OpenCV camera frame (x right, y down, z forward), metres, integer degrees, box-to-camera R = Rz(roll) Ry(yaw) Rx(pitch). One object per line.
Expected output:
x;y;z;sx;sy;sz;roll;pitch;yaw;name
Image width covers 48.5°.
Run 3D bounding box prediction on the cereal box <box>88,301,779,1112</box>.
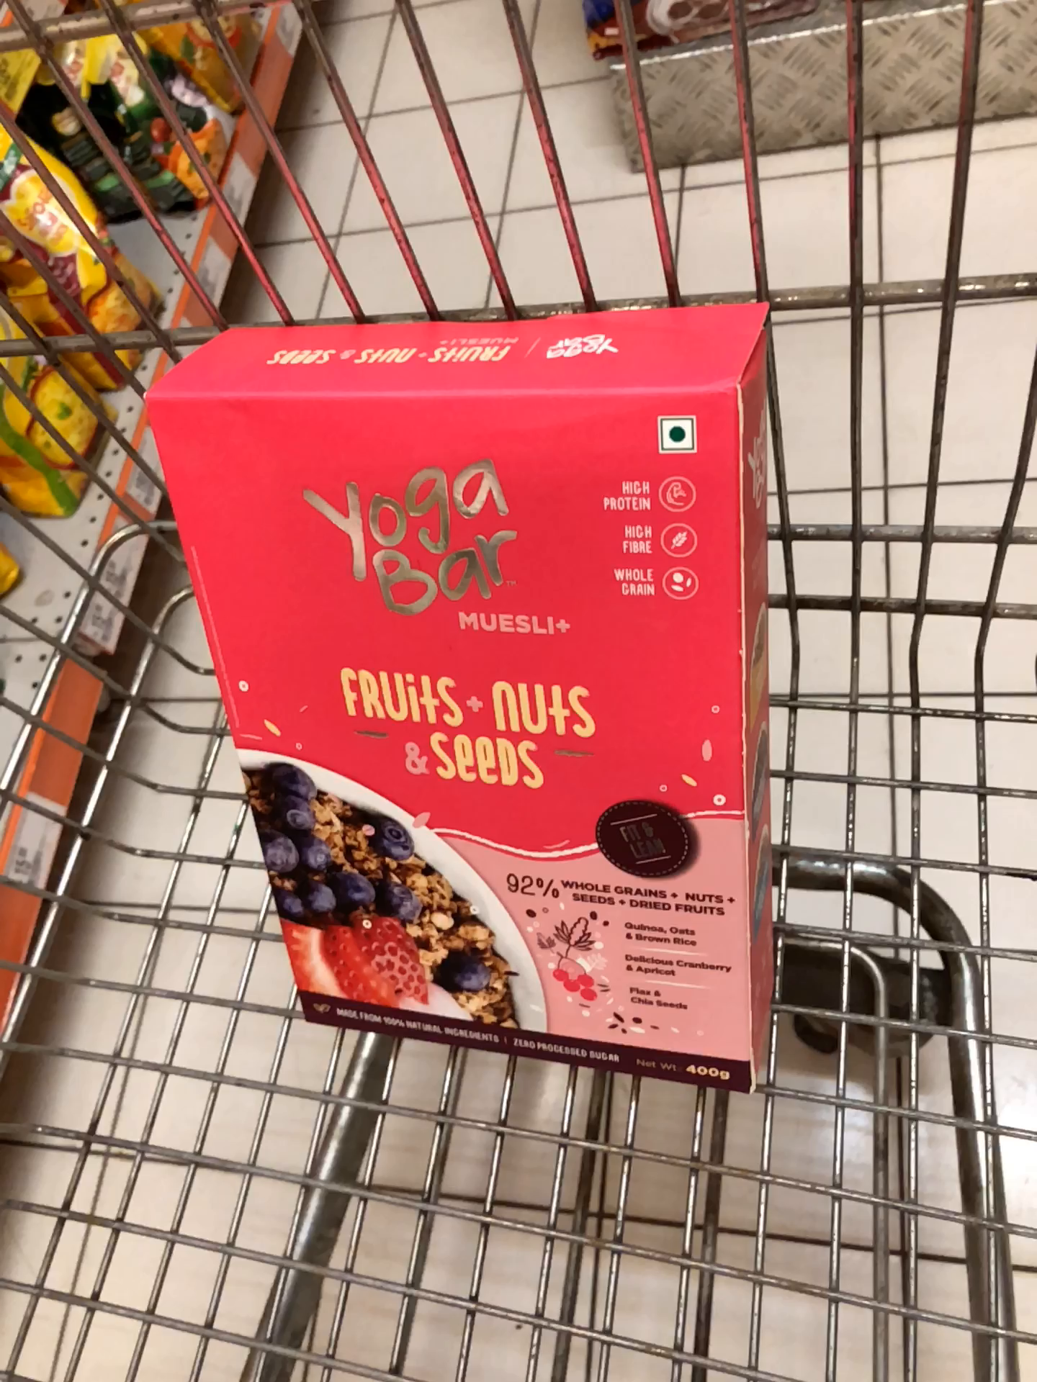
-0.009;0.012;0.359;0.170;0.239;0.060;4;33;19;cereal box
